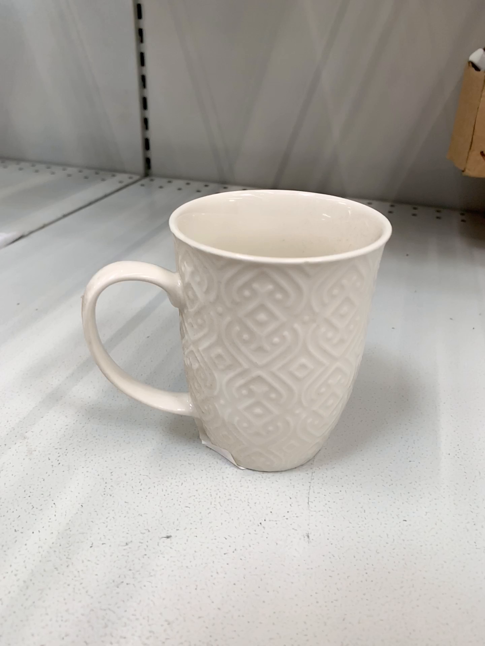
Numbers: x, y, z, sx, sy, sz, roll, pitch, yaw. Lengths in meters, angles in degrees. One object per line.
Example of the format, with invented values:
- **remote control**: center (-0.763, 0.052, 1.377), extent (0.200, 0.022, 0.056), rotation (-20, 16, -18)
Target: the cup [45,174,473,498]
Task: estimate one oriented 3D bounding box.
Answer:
- **cup**: center (0.006, -0.001, 0.218), extent (0.131, 0.098, 0.092), rotation (4, 29, 3)
